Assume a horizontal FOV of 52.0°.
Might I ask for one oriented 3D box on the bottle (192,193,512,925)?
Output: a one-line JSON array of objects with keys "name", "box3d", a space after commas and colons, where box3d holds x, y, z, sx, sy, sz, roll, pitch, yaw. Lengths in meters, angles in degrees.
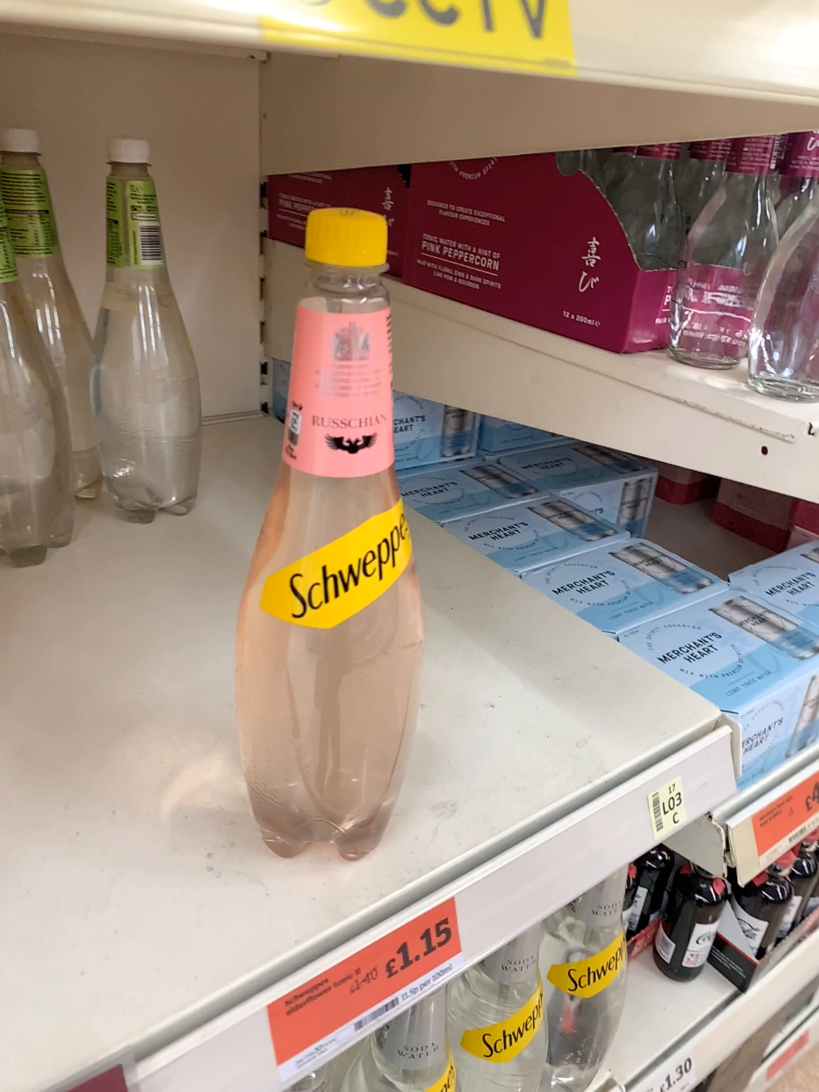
[{"name": "bottle", "box3d": [-0.036, 0.013, 0.368, 0.085, 0.299, 0.090, 4, 27, -2]}]
